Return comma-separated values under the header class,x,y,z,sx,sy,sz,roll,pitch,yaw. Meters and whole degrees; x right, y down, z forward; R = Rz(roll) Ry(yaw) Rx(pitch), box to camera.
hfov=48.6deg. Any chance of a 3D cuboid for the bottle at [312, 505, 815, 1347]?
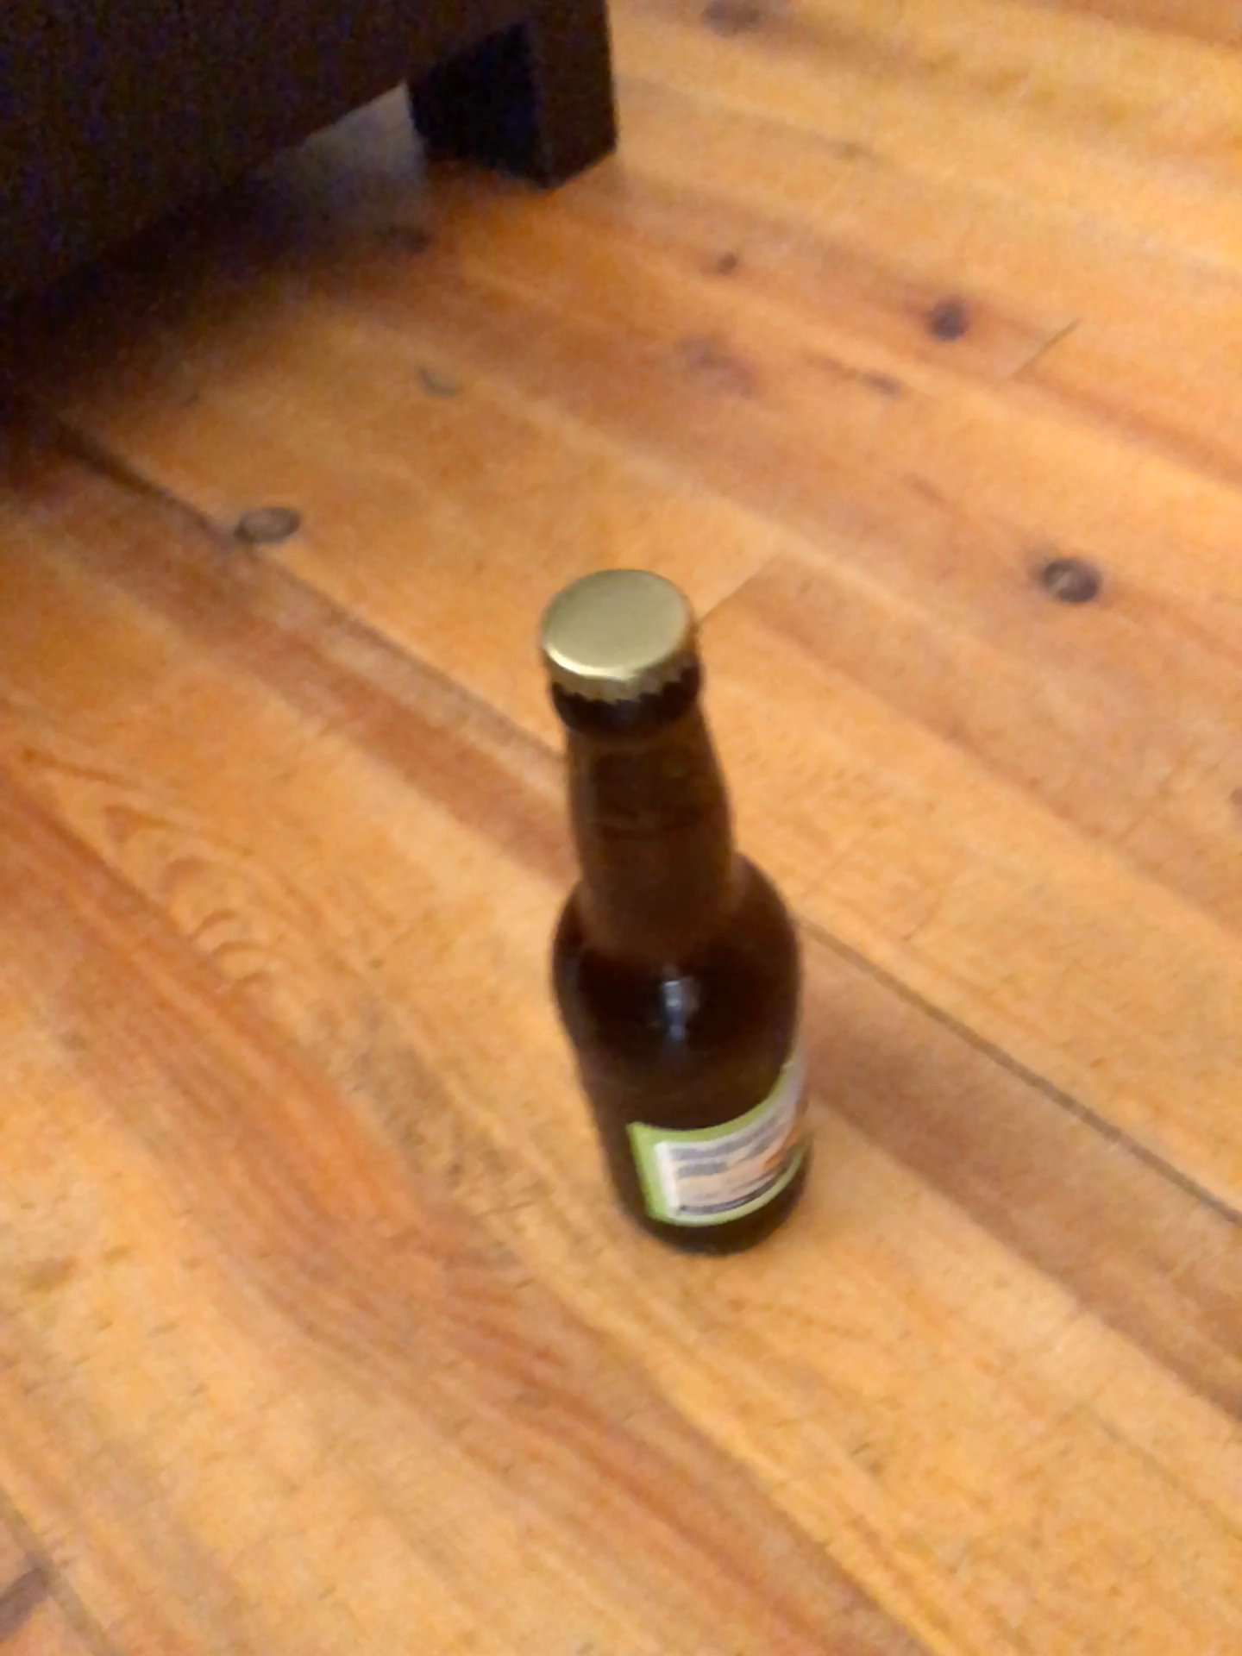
class,x,y,z,sx,sy,sz,roll,pitch,yaw
bottle,0.006,0.041,0.317,0.070,0.229,0.070,-4,51,5
